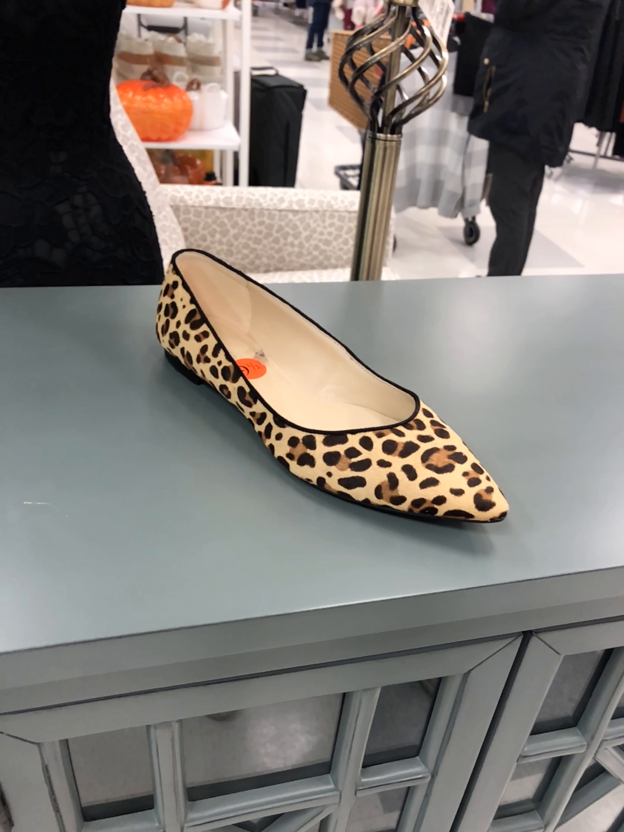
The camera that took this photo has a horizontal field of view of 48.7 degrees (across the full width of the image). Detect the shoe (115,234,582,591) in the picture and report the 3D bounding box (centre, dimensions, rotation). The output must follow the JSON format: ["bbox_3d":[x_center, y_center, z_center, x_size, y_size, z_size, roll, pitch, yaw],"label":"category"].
[{"bbox_3d":[0.002,-0.026,0.424,0.097,0.073,0.286,-26,45,-38],"label":"shoe"}]
